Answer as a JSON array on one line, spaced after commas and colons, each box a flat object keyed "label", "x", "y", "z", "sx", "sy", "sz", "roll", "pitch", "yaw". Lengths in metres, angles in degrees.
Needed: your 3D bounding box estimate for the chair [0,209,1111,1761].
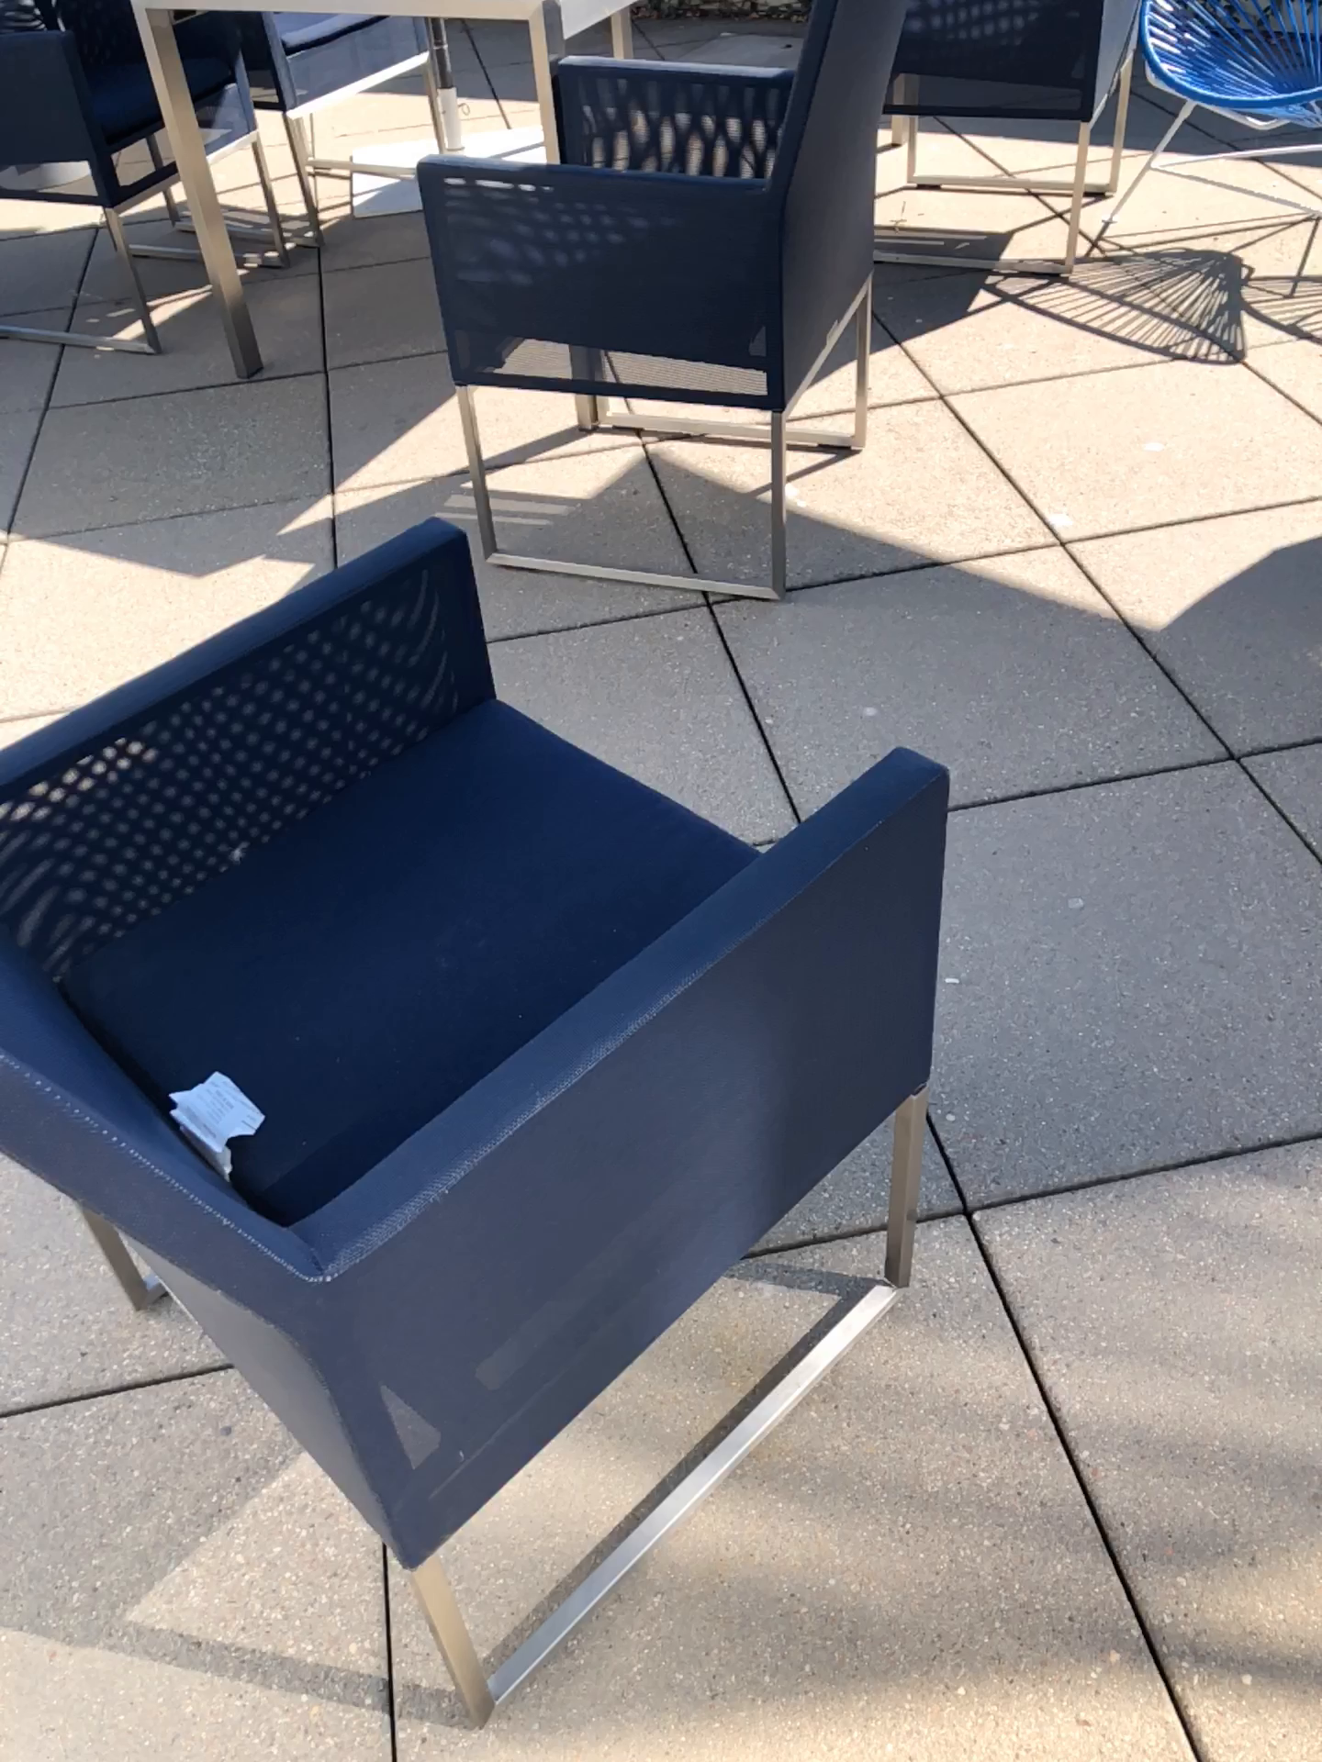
[{"label": "chair", "x": -0.198, "y": 0.072, "z": 1.051, "sx": 0.671, "sy": 0.776, "sz": 0.652, "roll": -35, "pitch": 49, "yaw": -30}]
